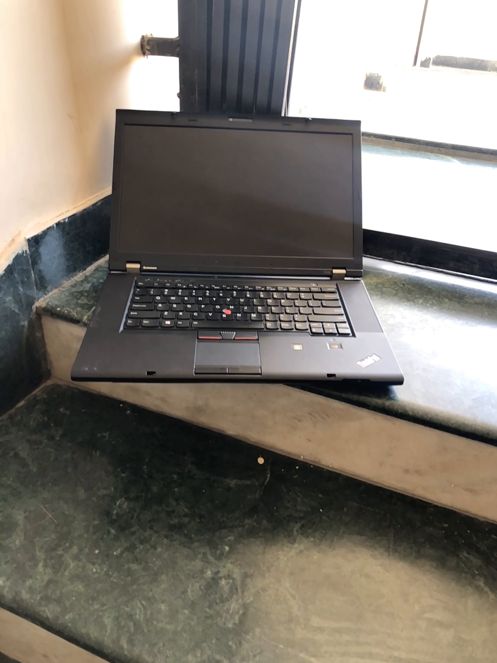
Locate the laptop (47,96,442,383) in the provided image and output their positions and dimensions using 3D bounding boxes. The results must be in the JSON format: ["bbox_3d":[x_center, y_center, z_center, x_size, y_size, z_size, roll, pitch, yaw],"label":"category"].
[{"bbox_3d":[-0.011,-0.144,0.696,0.359,0.181,0.390,1,36,-3],"label":"laptop"}]
